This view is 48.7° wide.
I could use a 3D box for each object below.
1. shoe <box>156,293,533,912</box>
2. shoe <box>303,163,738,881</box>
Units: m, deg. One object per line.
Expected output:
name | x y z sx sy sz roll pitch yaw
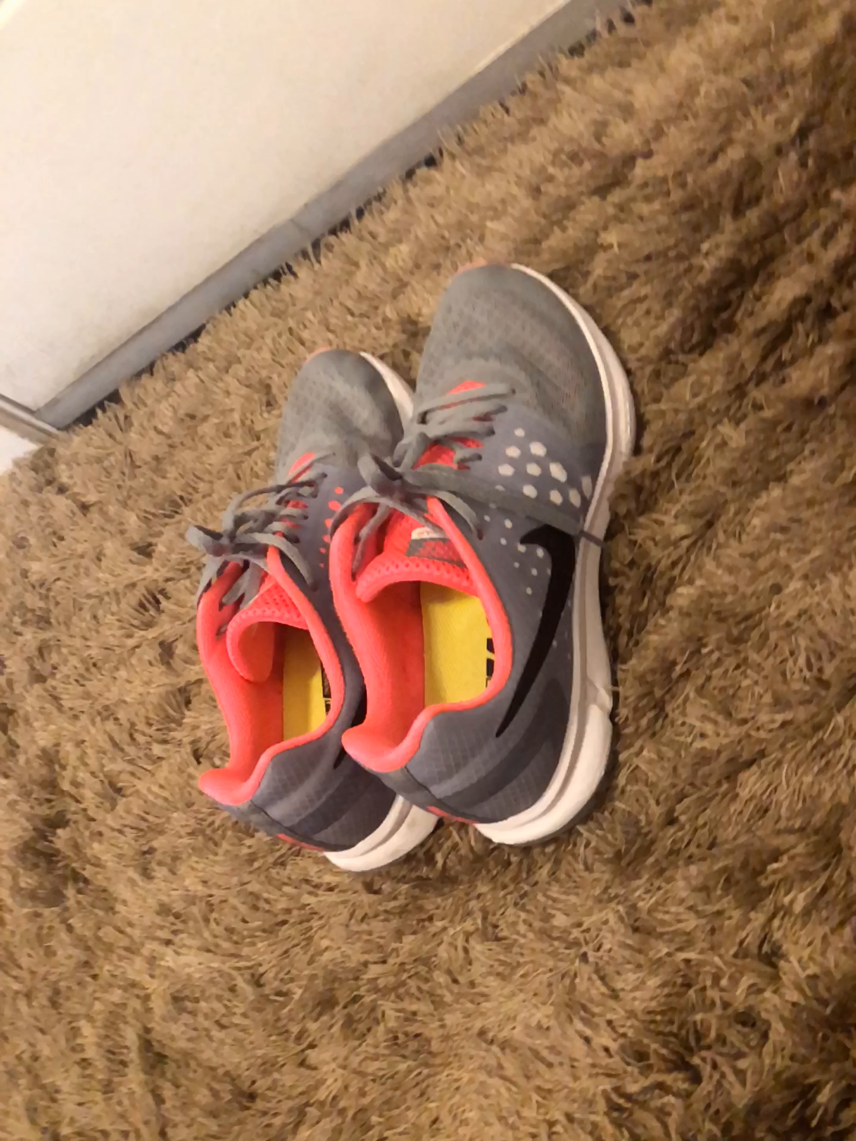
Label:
shoe | -0.047 0.018 0.483 0.114 0.121 0.270 -26 55 30
shoe | 0.034 -0.016 0.418 0.119 0.118 0.270 -21 58 33
